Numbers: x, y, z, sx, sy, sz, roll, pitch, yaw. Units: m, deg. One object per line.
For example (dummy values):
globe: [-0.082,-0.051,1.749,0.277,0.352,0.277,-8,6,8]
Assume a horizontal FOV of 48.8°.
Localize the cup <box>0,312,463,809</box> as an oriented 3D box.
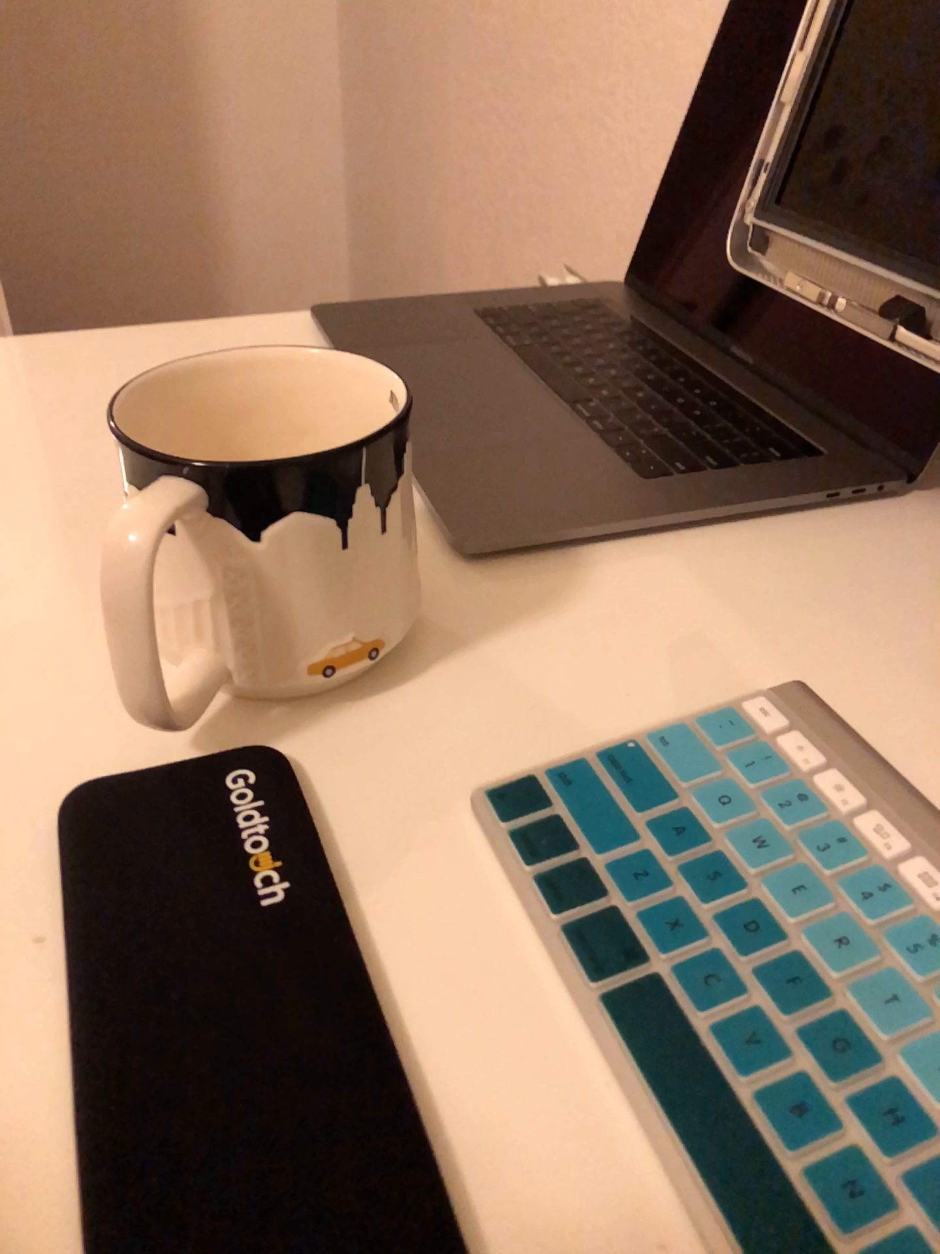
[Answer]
cup: [-0.078,-0.035,0.361,0.110,0.089,0.161,10,35,12]
